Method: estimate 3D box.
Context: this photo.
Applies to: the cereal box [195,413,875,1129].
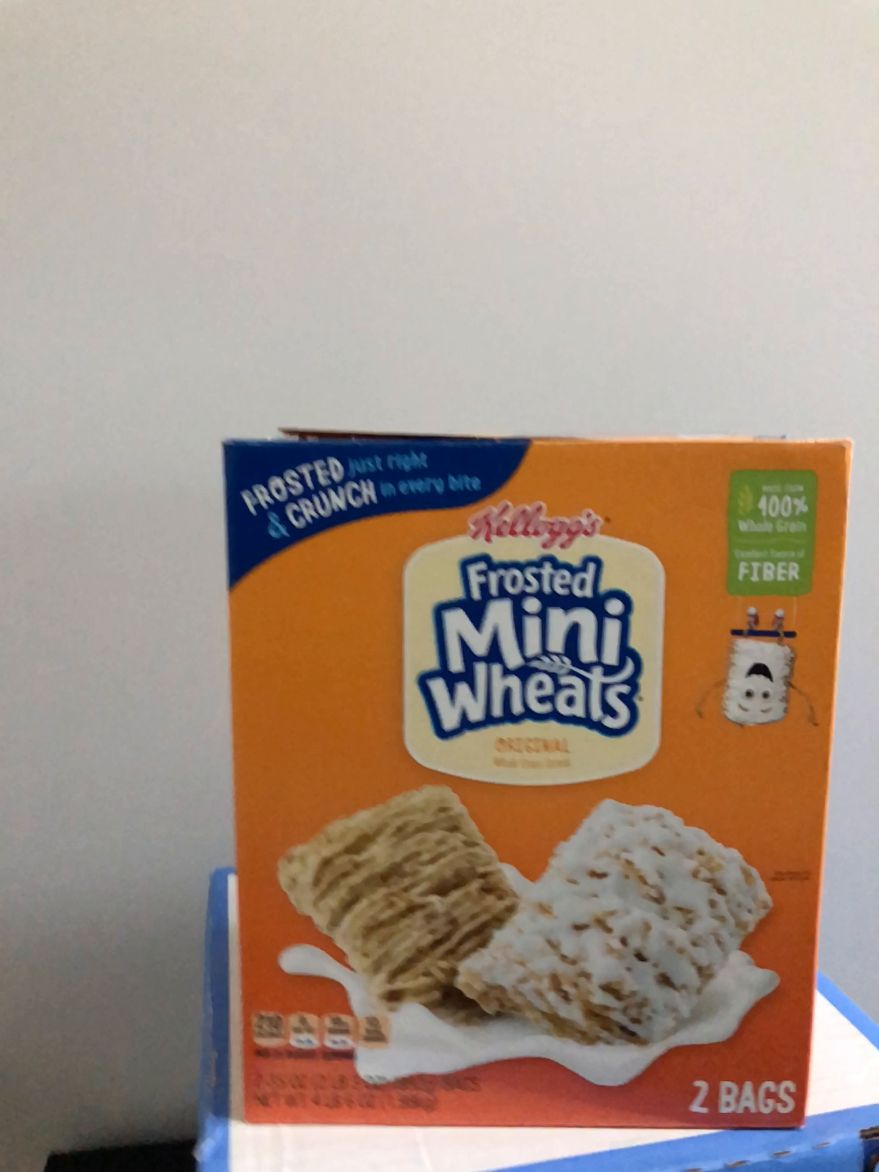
[{"bbox_3d":[0.037,0.067,0.460,0.250,0.290,0.160,0,9,2],"label":"cereal box"}]
